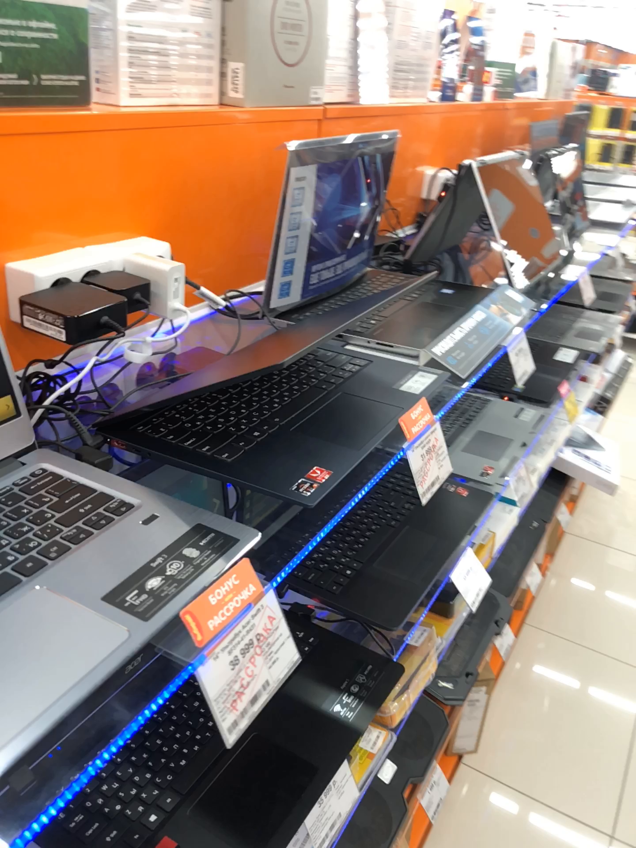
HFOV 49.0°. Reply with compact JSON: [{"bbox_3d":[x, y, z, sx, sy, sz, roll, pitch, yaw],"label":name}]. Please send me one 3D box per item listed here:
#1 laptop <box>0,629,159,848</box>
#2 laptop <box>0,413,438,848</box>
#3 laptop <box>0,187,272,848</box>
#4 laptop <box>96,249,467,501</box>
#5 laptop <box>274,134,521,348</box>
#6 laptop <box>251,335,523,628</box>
[{"bbox_3d":[-0.276,0.331,0.335,0.235,0.208,0.349,16,27,24],"label":"laptop"},{"bbox_3d":[-0.080,0.190,0.653,0.246,0.230,0.343,18,30,28],"label":"laptop"},{"bbox_3d":[-0.201,0.012,0.355,0.224,0.203,0.317,16,28,25],"label":"laptop"},{"bbox_3d":[-0.018,-0.072,0.672,0.212,0.106,0.300,17,30,26],"label":"laptop"},{"bbox_3d":[0.112,-0.272,0.958,0.228,0.213,0.307,16,29,27],"label":"laptop"},{"bbox_3d":[0.103,0.050,0.969,0.225,0.215,0.354,17,30,27],"label":"laptop"}]
